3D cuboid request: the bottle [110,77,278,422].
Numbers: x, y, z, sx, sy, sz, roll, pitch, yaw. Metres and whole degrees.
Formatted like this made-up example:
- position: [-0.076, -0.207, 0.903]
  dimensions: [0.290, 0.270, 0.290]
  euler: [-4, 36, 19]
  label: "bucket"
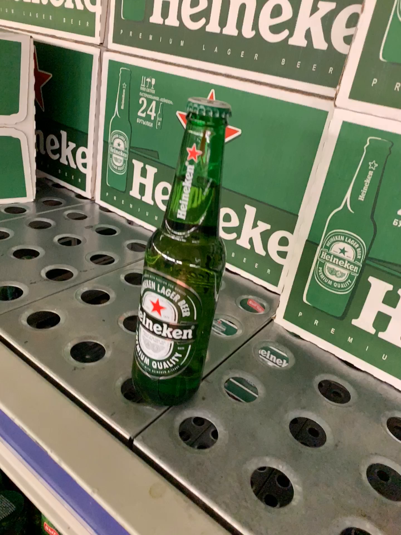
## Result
- position: [-0.013, -0.005, 0.291]
  dimensions: [0.060, 0.225, 0.060]
  euler: [8, 27, -4]
  label: "bottle"
